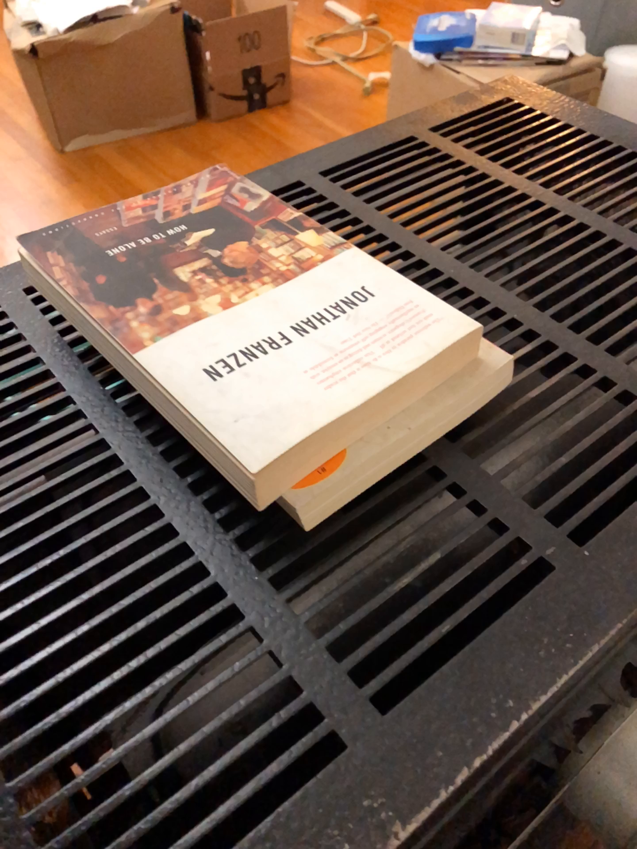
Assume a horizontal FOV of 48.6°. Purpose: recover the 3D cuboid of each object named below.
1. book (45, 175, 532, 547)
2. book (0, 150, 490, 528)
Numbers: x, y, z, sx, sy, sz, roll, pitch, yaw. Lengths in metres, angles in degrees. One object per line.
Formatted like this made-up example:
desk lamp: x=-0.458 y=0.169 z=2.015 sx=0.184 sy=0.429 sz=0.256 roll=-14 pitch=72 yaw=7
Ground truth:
book: x=-0.022 y=-0.054 z=0.374 sx=0.150 sy=0.030 sz=0.211 roll=-33 pitch=56 yaw=-27
book: x=-0.046 y=-0.064 z=0.358 sx=0.150 sy=0.030 sz=0.211 roll=-33 pitch=56 yaw=-27
